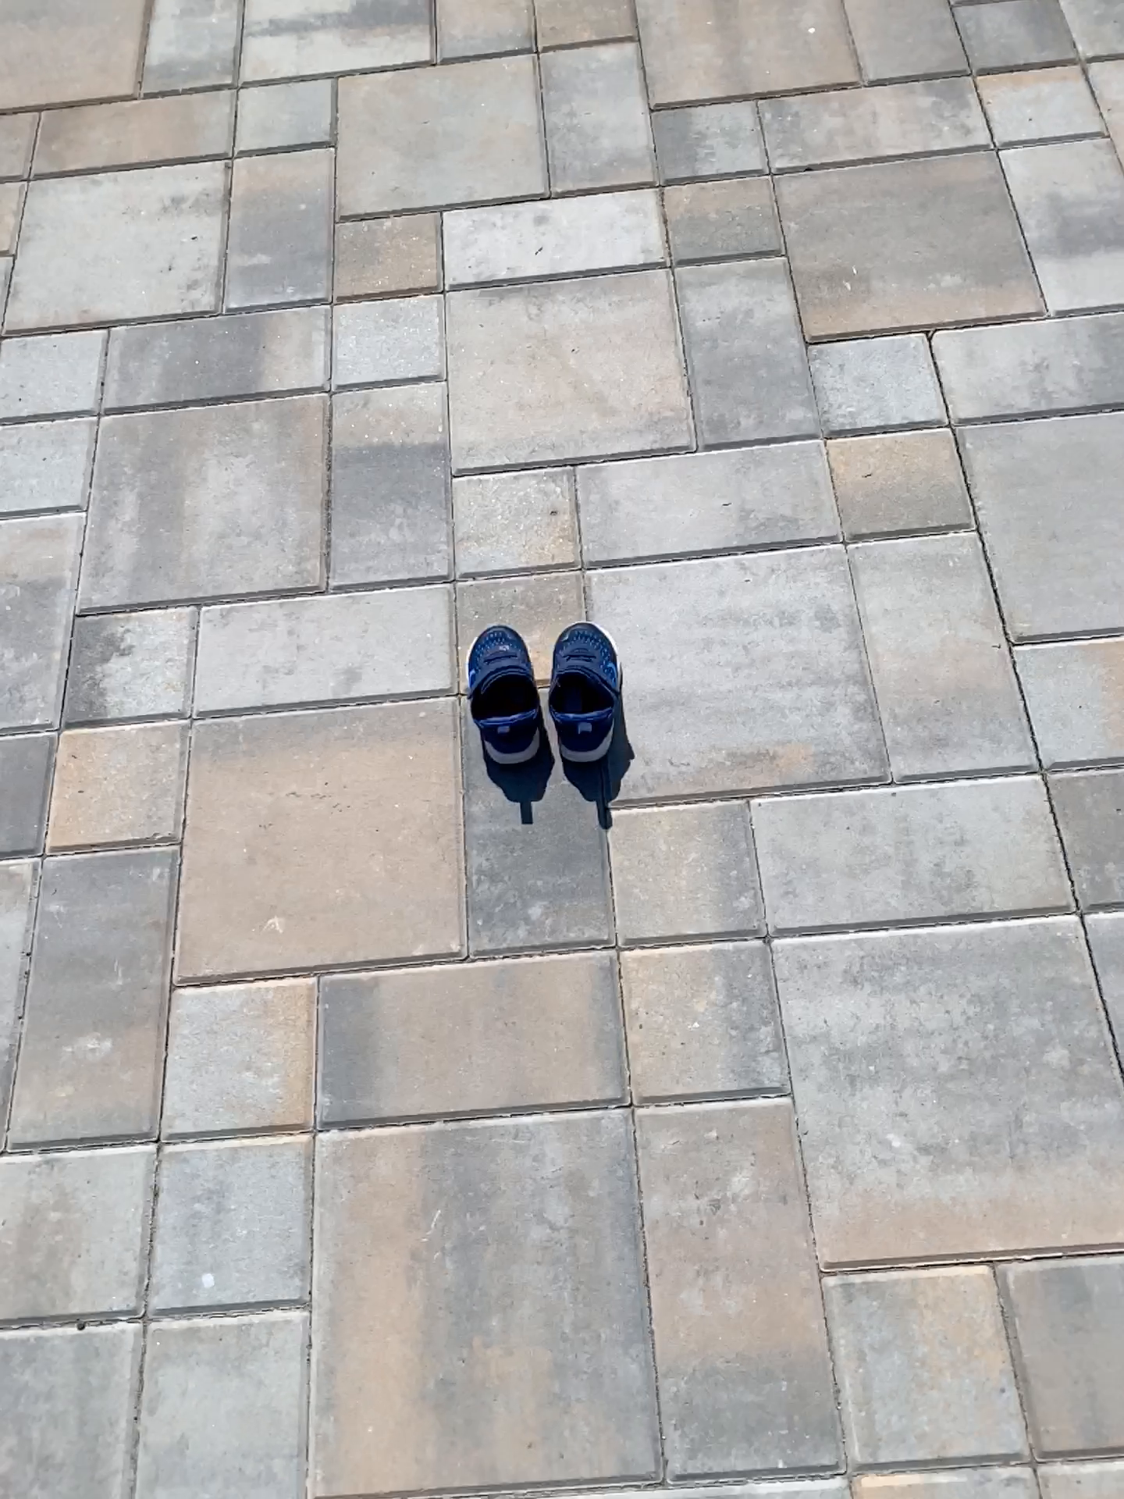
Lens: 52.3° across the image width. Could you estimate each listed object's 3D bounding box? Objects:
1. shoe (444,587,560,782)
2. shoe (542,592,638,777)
[{"bbox_3d":[-0.063,-0.068,1.211,0.090,0.090,0.170,-10,66,-1],"label":"shoe"},{"bbox_3d":[0.030,-0.069,1.230,0.090,0.090,0.170,-4,66,2],"label":"shoe"}]
